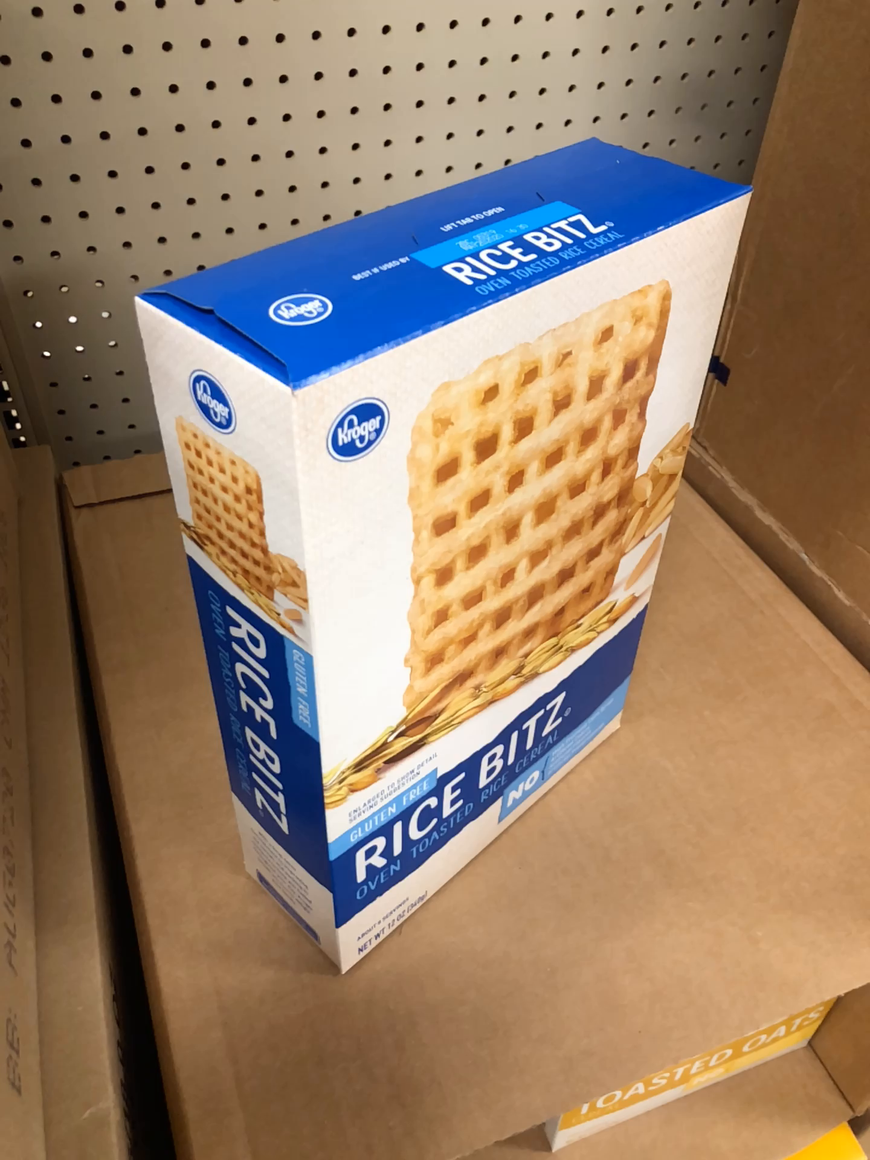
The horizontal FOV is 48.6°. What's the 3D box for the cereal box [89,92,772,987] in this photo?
[{"bbox_3d":[0.008,-0.002,0.369,0.200,0.289,0.070,-33,53,-32],"label":"cereal box"}]
